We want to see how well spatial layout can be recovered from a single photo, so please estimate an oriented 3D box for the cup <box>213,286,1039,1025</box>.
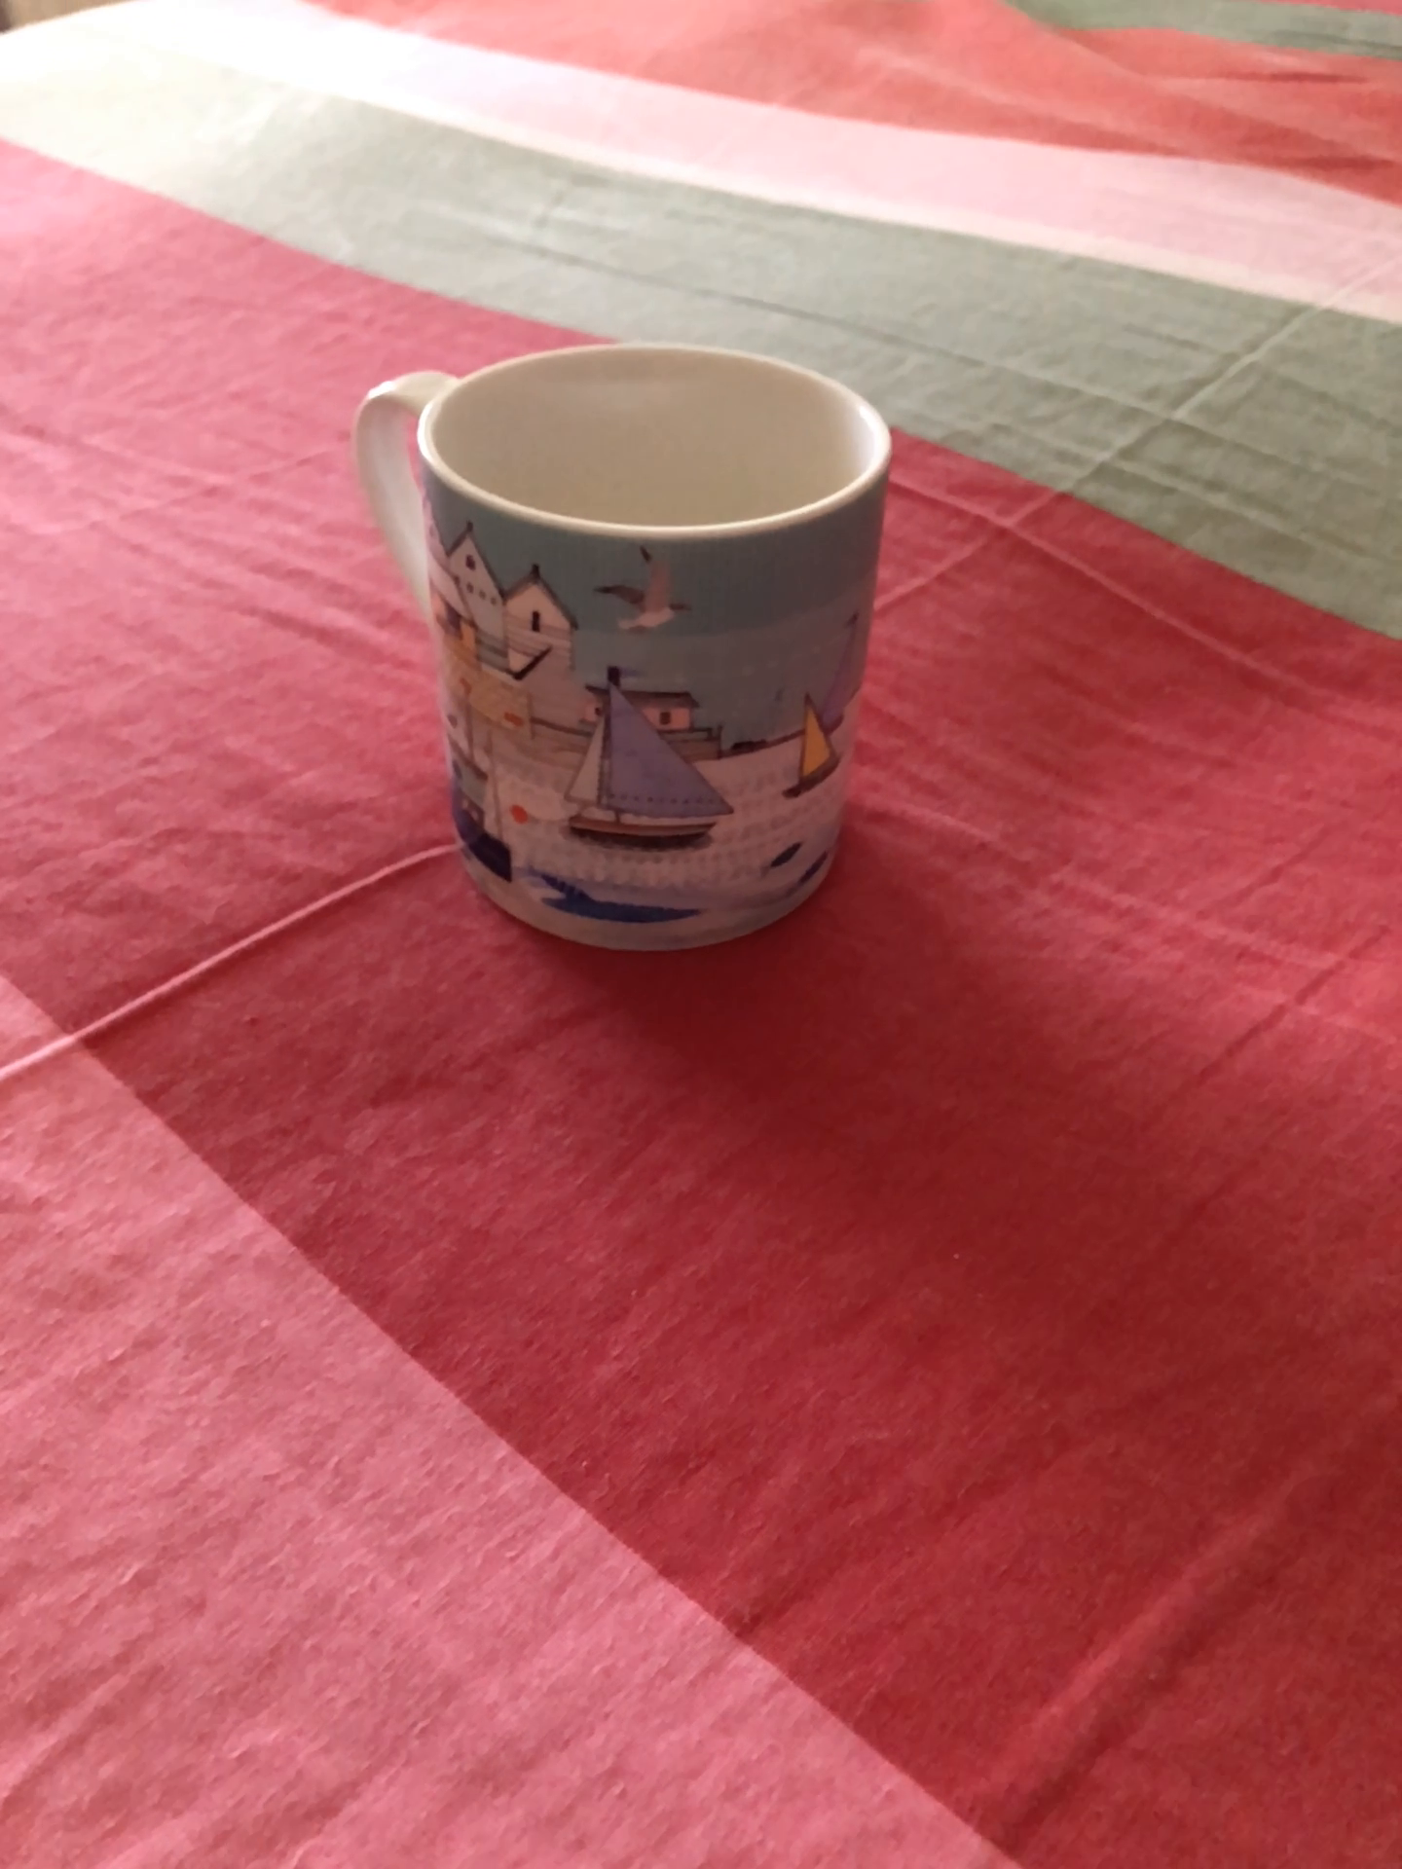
[{"bbox_3d":[-0.016,-0.063,0.310,0.094,0.080,0.120,-31,49,-33],"label":"cup"}]
